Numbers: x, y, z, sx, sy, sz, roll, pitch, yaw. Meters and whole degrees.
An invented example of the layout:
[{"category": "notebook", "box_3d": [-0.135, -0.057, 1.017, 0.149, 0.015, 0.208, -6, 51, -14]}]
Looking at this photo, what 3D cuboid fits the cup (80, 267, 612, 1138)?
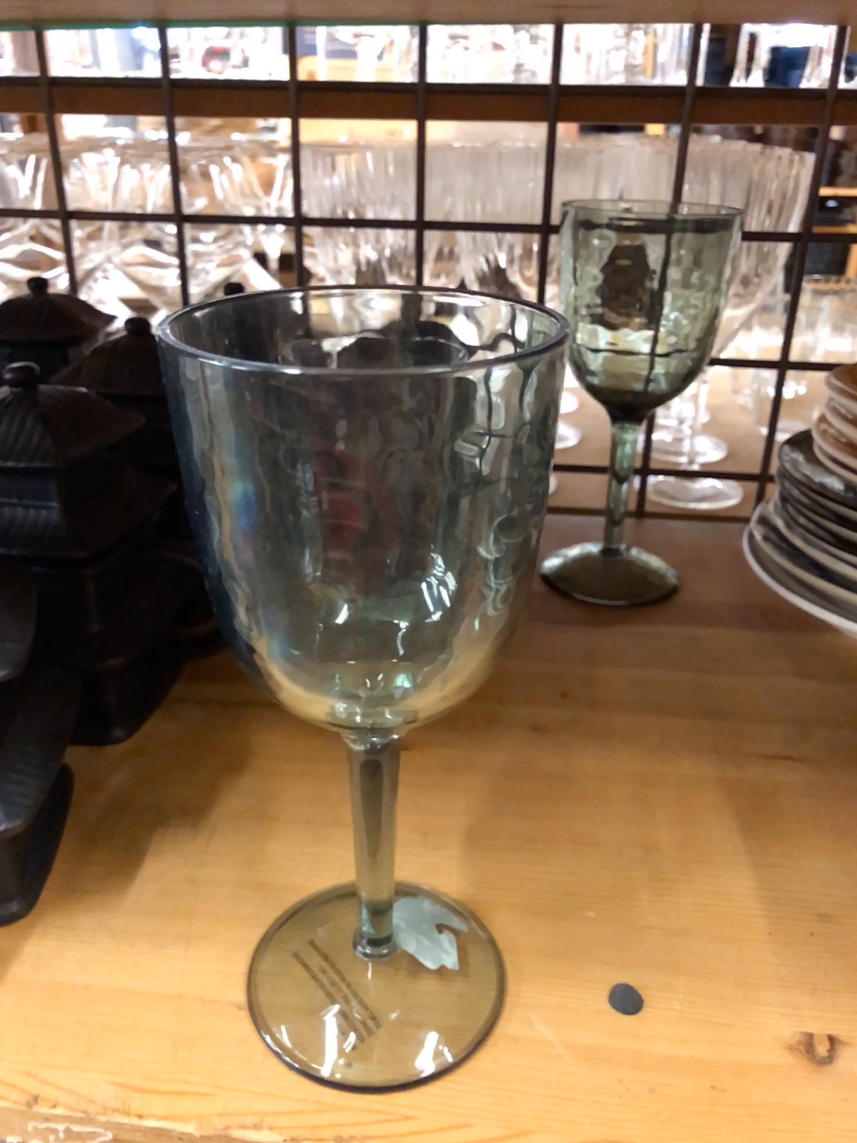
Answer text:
[{"category": "cup", "box_3d": [-0.013, 0.031, 0.264, 0.091, 0.204, 0.094, 1, 25, 0]}]
